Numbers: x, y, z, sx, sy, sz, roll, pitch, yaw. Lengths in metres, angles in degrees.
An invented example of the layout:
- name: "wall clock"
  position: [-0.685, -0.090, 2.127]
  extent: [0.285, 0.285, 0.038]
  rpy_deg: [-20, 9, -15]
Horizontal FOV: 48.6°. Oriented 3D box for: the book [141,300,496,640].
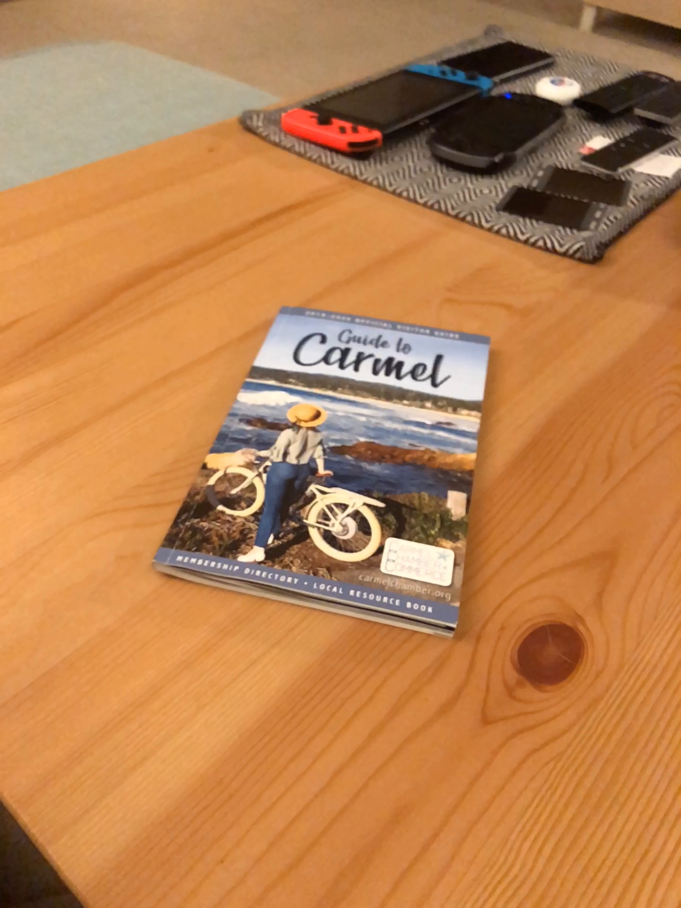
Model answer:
- name: "book"
  position: [0.004, -0.009, 0.390]
  extent: [0.137, 0.010, 0.208]
  rpy_deg: [11, 44, 7]
